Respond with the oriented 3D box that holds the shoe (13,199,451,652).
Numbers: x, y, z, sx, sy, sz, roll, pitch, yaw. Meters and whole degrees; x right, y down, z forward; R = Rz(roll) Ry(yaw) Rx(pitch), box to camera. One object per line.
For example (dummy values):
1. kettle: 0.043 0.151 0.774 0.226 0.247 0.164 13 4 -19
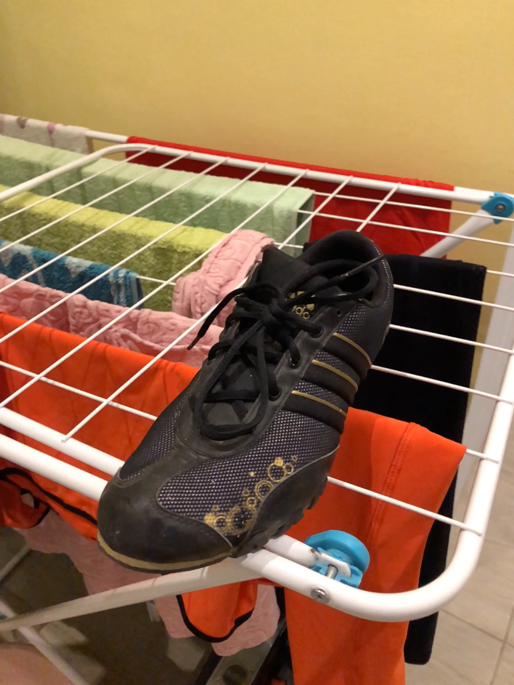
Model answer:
1. shoe: 0.012 0.016 0.332 0.098 0.099 0.261 21 42 28
